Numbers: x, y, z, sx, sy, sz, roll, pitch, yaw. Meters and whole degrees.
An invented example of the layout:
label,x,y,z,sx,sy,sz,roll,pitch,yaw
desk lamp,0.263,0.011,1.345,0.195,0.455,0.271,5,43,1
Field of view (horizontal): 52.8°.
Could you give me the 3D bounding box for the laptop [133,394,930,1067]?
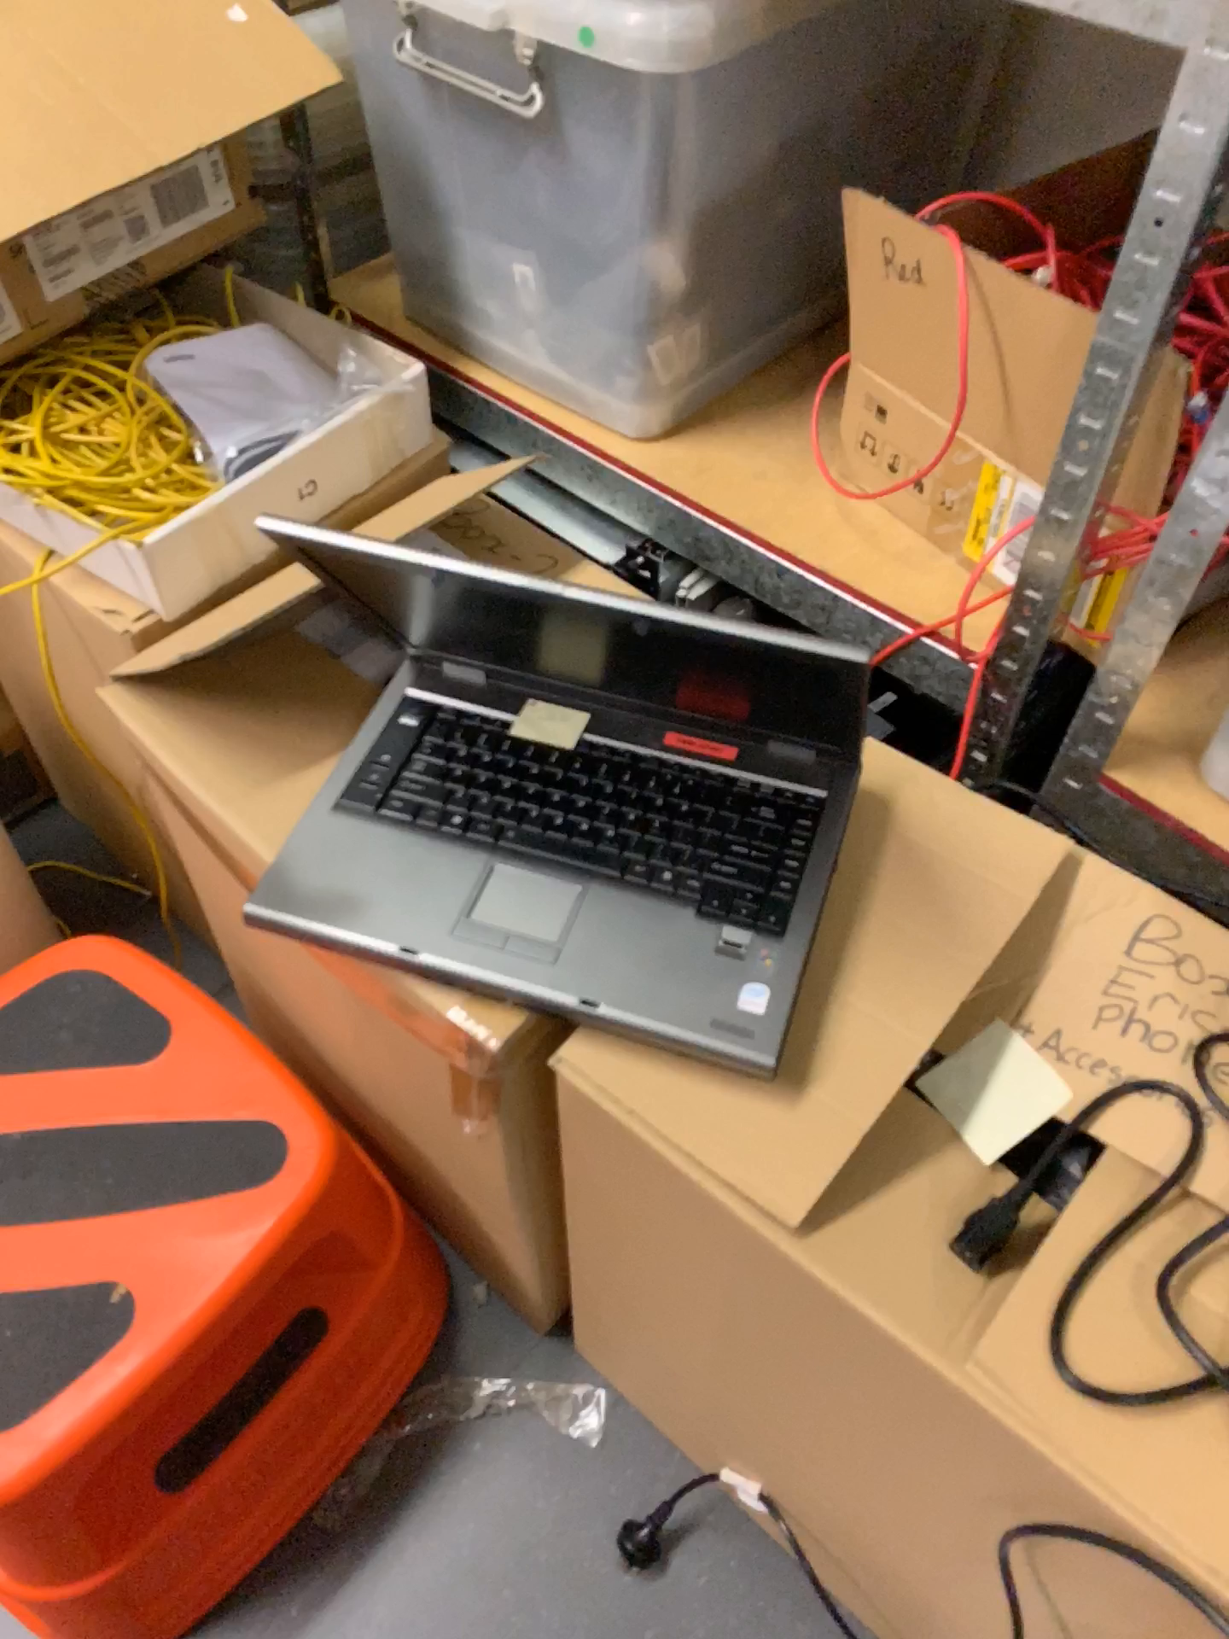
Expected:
label,x,y,z,sx,sy,sz,roll,pitch,yaw
laptop,-0.033,-0.064,0.758,0.360,0.238,0.263,14,50,12
